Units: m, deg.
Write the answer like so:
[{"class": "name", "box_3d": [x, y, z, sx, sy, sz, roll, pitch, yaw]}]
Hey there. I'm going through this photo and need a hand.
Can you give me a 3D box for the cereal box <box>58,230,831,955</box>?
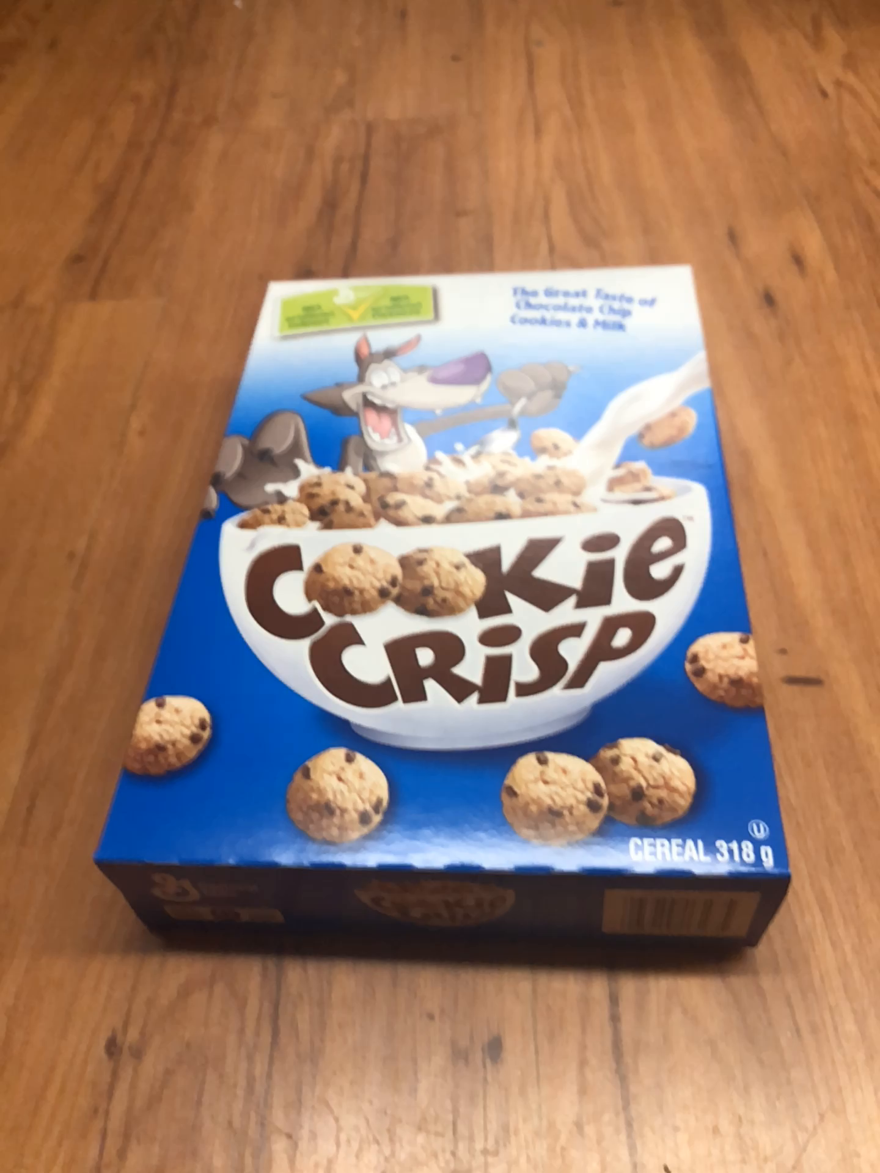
[{"class": "cereal box", "box_3d": [0.008, -0.021, 0.362, 0.200, 0.060, 0.282, 0, 52, 6]}]
